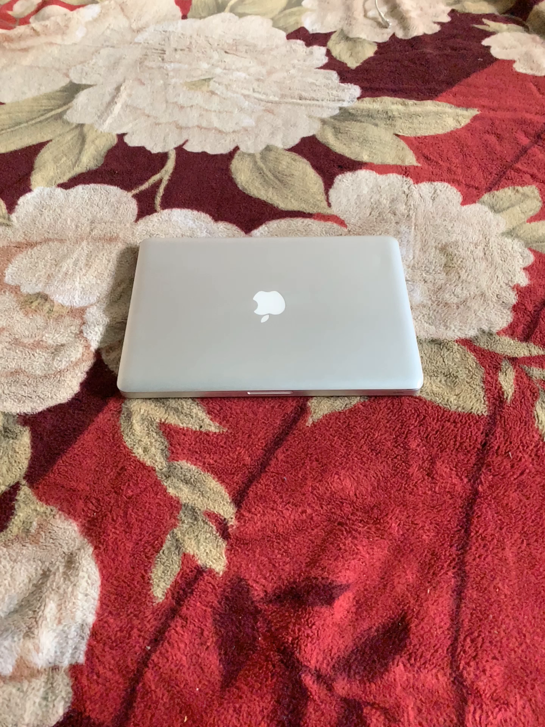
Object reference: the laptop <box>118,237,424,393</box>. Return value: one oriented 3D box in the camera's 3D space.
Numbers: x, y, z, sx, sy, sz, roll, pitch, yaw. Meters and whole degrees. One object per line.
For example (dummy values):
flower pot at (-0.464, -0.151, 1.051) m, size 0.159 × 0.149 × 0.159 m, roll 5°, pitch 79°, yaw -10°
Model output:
laptop at (-0.003, -0.062, 0.620) m, size 0.310 × 0.001 × 0.210 m, roll -1°, pitch 58°, yaw 0°
